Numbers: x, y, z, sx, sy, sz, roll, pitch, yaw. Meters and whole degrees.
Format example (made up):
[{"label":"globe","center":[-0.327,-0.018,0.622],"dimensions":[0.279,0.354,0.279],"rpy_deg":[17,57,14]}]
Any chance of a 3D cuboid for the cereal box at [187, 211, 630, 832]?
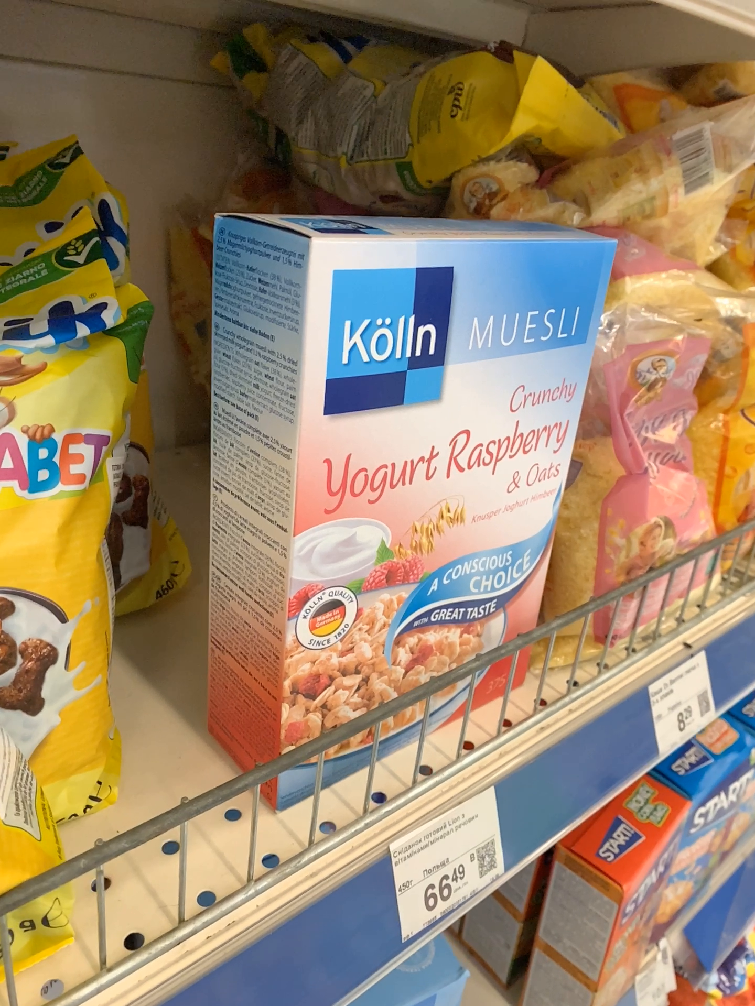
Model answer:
[{"label":"cereal box","center":[0.007,0.000,0.312],"dimensions":[0.150,0.208,0.060],"rpy_deg":[-14,31,-37]}]
